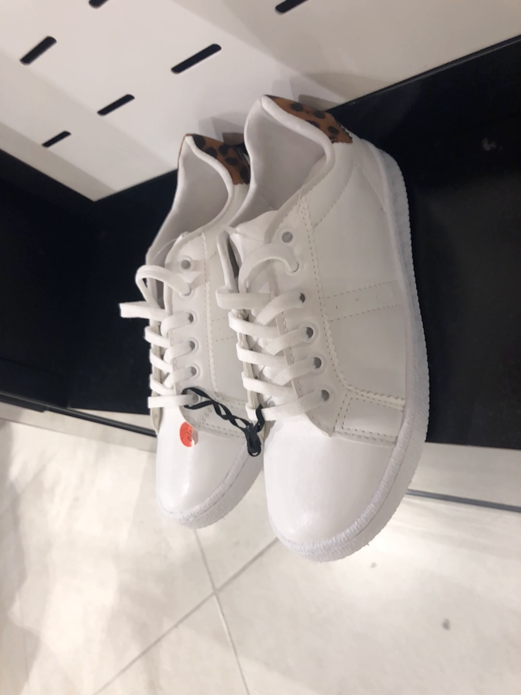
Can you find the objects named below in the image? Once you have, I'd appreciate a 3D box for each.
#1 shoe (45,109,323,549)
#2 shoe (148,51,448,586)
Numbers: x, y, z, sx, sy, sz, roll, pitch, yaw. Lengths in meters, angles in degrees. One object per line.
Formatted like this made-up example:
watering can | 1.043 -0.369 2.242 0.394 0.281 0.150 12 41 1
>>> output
shoe | -0.039 -0.003 0.345 0.090 0.100 0.220 -6 72 44
shoe | 0.023 -0.007 0.289 0.090 0.100 0.220 -12 68 41
